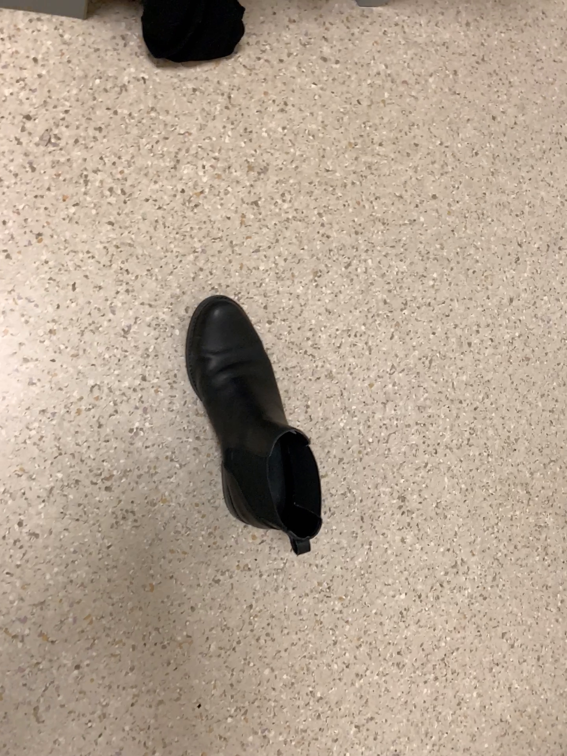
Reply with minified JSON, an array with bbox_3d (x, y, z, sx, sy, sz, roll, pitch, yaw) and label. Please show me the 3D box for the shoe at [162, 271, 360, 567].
[{"bbox_3d":[-0.031,0.040,0.633,0.108,0.147,0.270,-16,94,-24],"label":"shoe"}]
